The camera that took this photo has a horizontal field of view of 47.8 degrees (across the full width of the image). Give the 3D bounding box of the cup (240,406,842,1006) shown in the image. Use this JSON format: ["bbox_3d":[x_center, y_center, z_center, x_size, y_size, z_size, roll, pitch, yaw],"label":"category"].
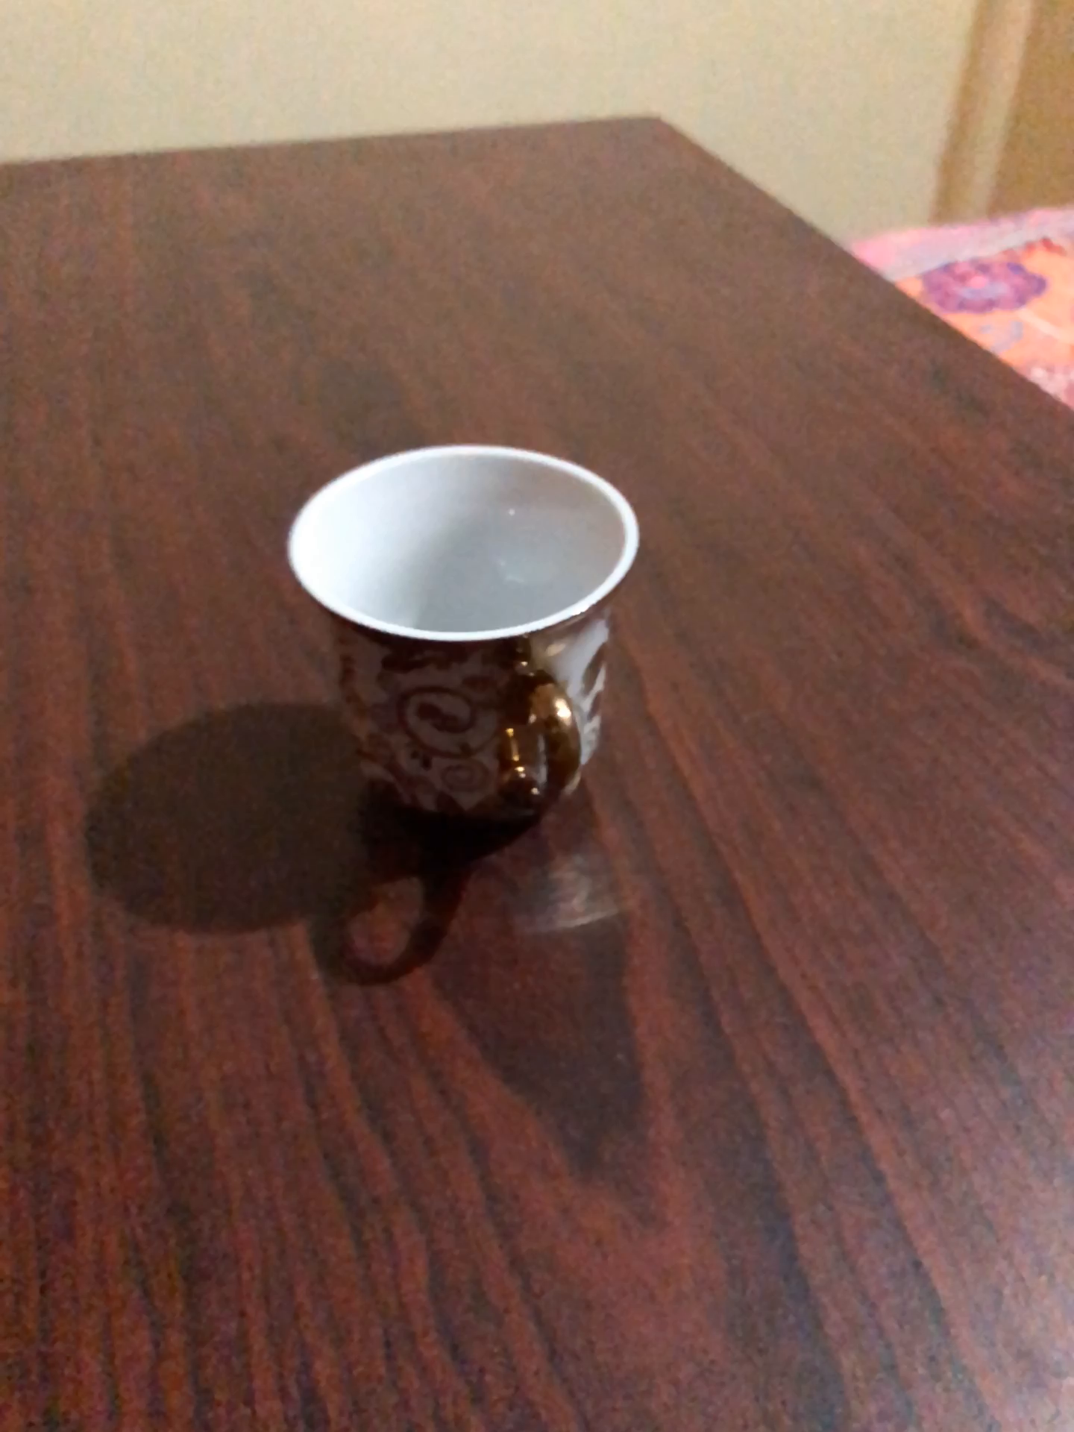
[{"bbox_3d":[-0.004,-0.008,0.222,0.070,0.050,0.090,-17,43,-20],"label":"cup"}]
